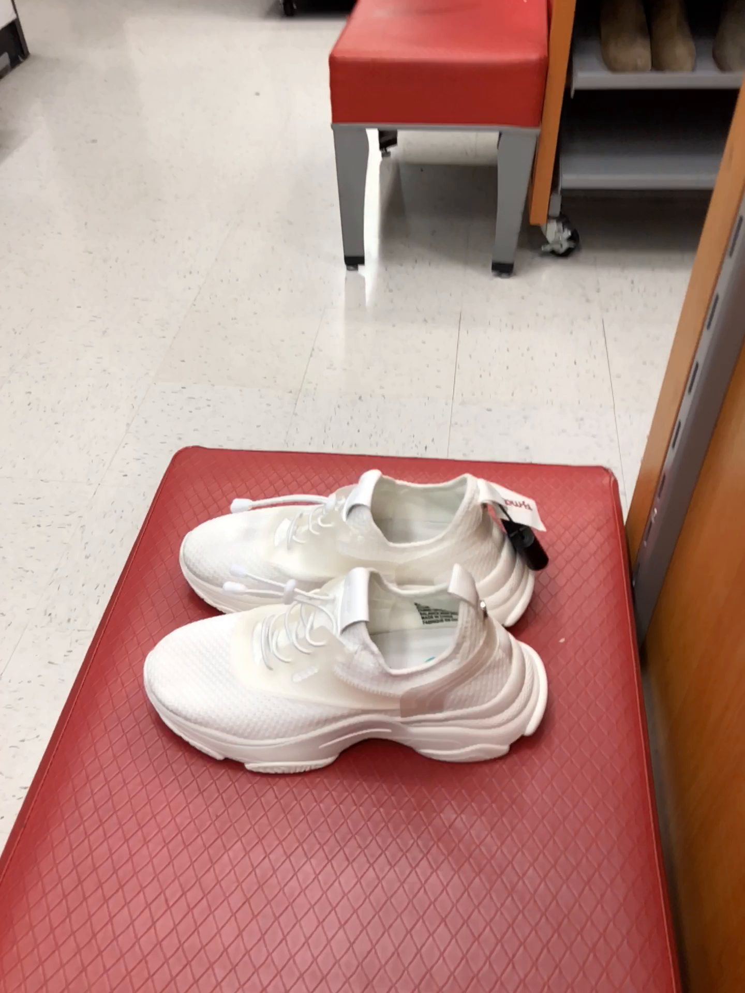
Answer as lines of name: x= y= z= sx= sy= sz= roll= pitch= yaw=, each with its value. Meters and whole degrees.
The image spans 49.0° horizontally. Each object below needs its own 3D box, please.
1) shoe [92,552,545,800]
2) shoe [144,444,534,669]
shoe: x=-0.029 y=0.123 z=0.571 sx=0.278 sy=0.110 sz=0.110 roll=2 pitch=45 yaw=6
shoe: x=-0.018 y=0.045 z=0.650 sx=0.278 sy=0.110 sz=0.112 roll=4 pitch=45 yaw=7
